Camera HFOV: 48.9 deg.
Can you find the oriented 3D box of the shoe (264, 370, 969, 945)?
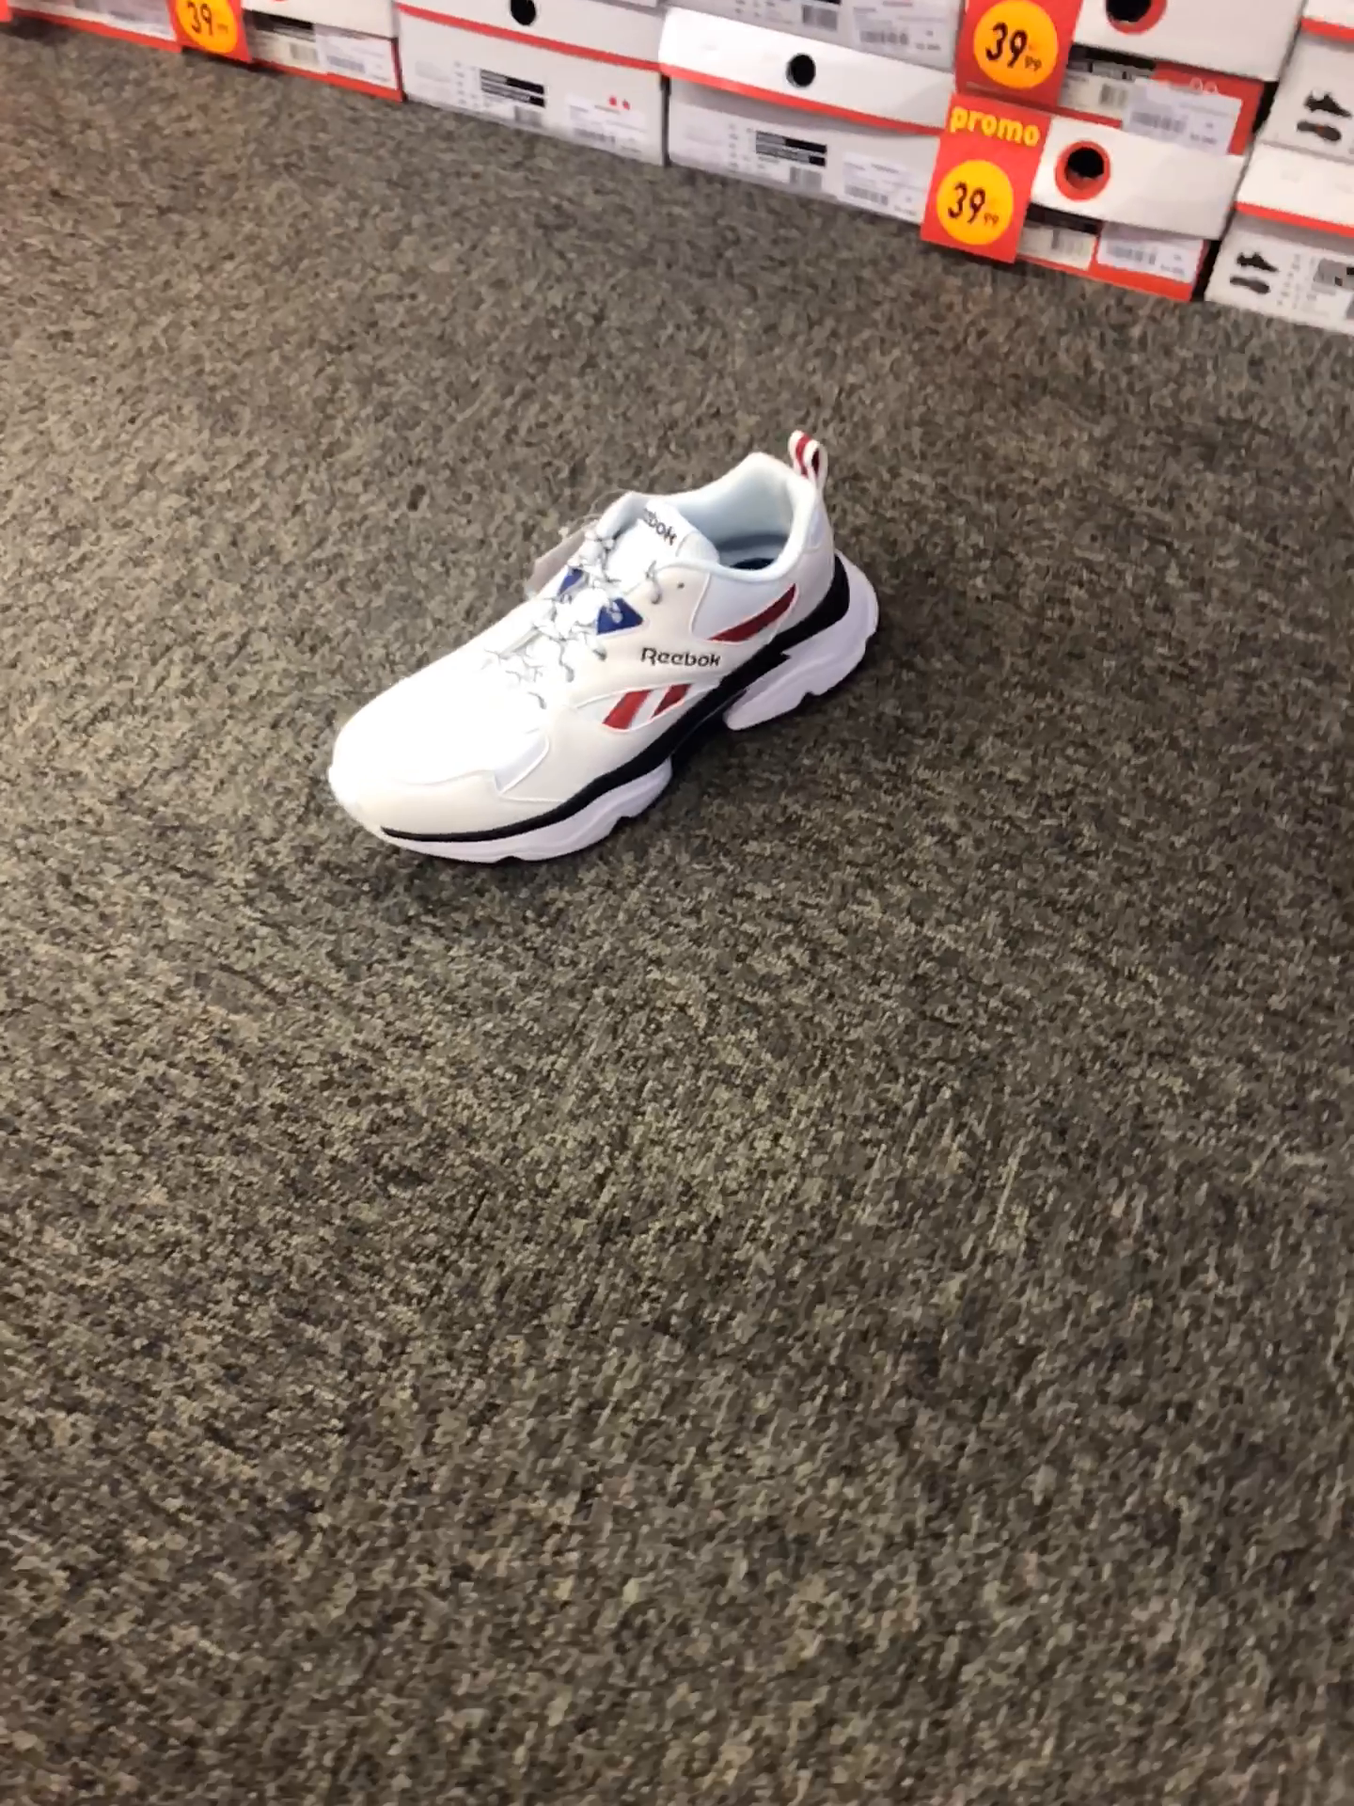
[{"bbox_3d":[-0.021,-0.122,0.705,0.301,0.109,0.113,-30,61,-19],"label":"shoe"}]
